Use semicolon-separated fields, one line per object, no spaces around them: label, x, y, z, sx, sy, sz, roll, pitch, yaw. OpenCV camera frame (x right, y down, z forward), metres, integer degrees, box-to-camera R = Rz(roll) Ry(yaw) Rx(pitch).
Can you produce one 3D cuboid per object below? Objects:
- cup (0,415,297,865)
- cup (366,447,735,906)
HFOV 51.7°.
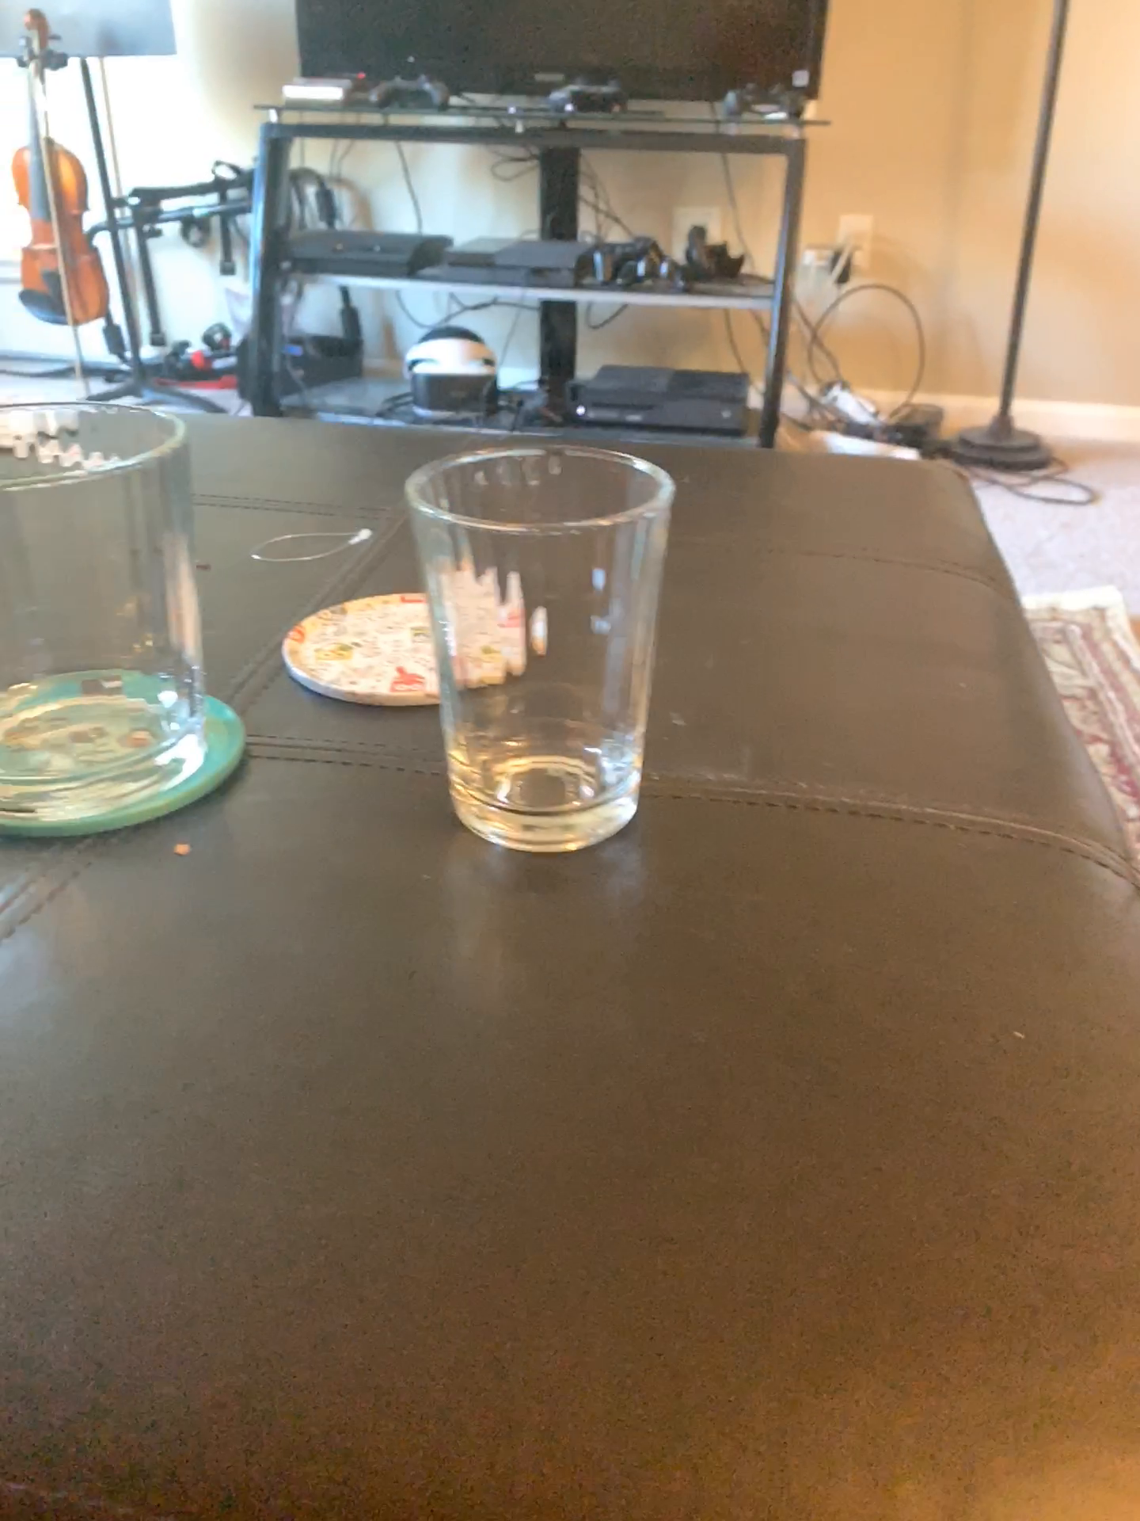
cup;-0.139;-0.040;0.333;0.080;0.089;0.080;1;28;0
cup;-0.004;-0.026;0.309;0.060;0.089;0.070;21;34;32
